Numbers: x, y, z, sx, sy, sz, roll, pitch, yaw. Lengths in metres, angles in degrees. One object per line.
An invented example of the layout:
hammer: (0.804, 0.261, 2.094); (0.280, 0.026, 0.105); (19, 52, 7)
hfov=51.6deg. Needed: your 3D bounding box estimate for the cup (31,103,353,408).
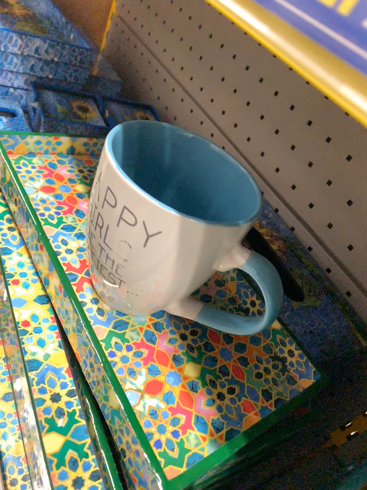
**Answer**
cup: (0.003, -0.009, 0.255); (0.150, 0.100, 0.120); (43, 37, 18)
